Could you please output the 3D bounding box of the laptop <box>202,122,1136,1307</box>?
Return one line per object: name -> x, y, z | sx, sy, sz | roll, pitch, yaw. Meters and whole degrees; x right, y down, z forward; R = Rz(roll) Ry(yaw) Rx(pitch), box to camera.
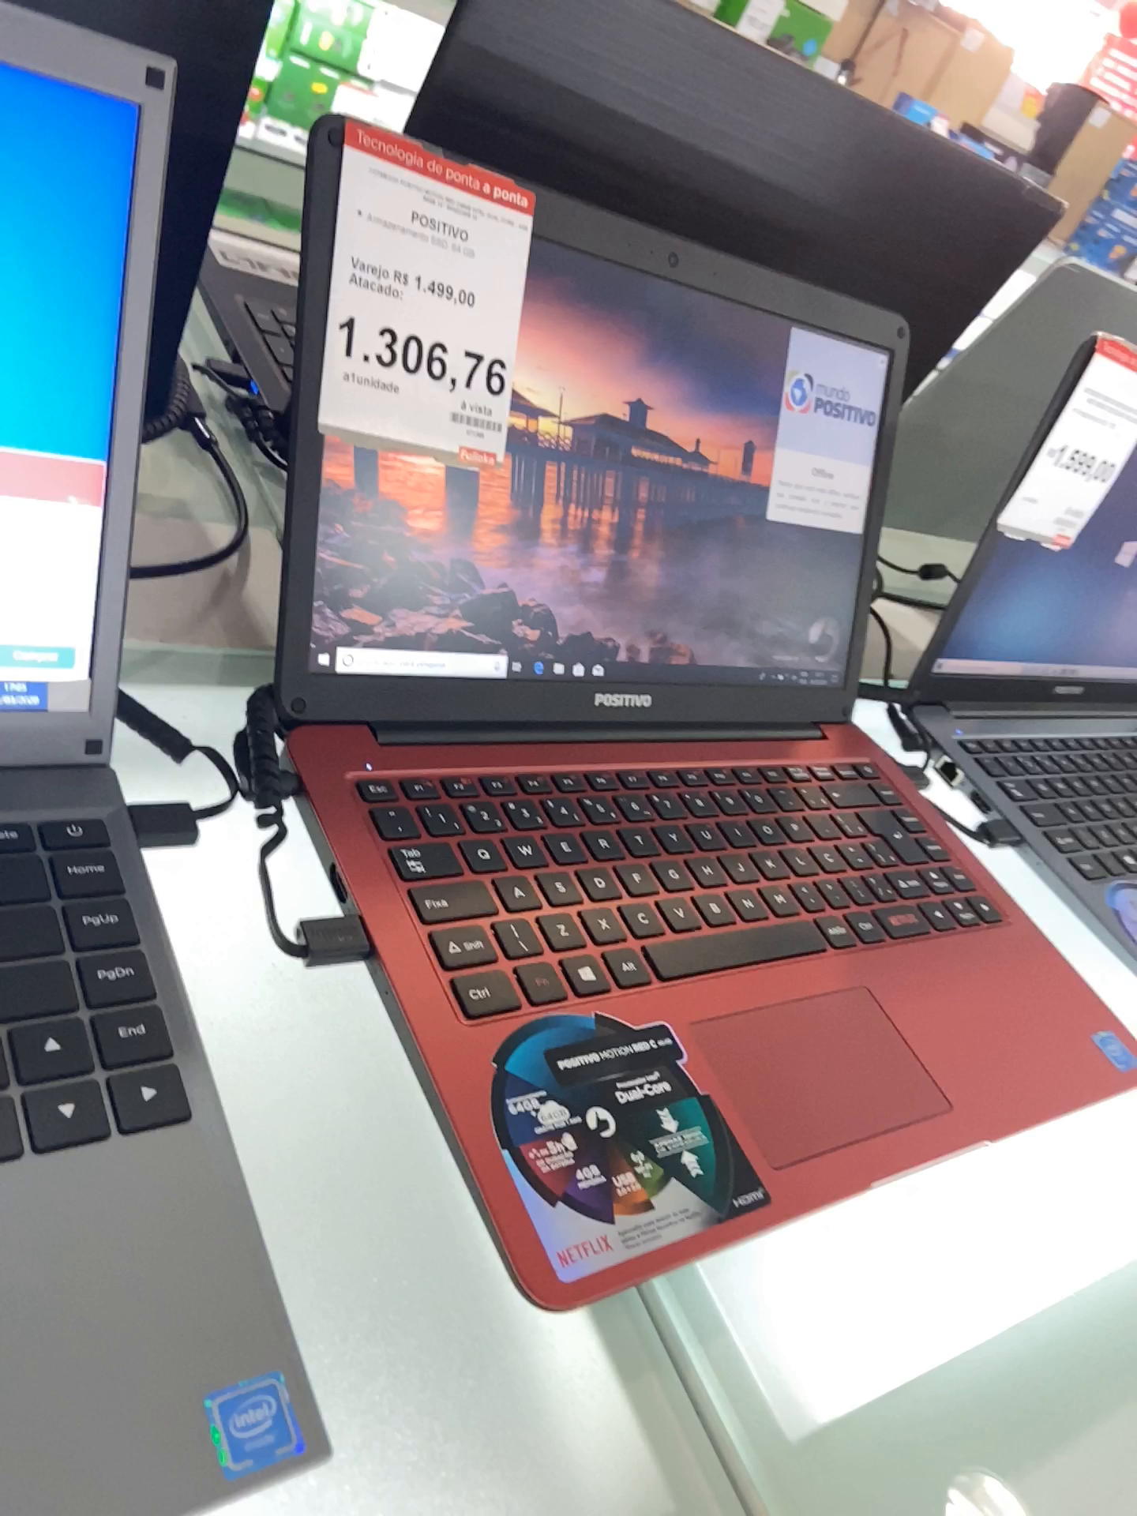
laptop -> 0.083, -0.040, 0.442 | 0.321, 0.167, 0.334 | 0, 44, -38
